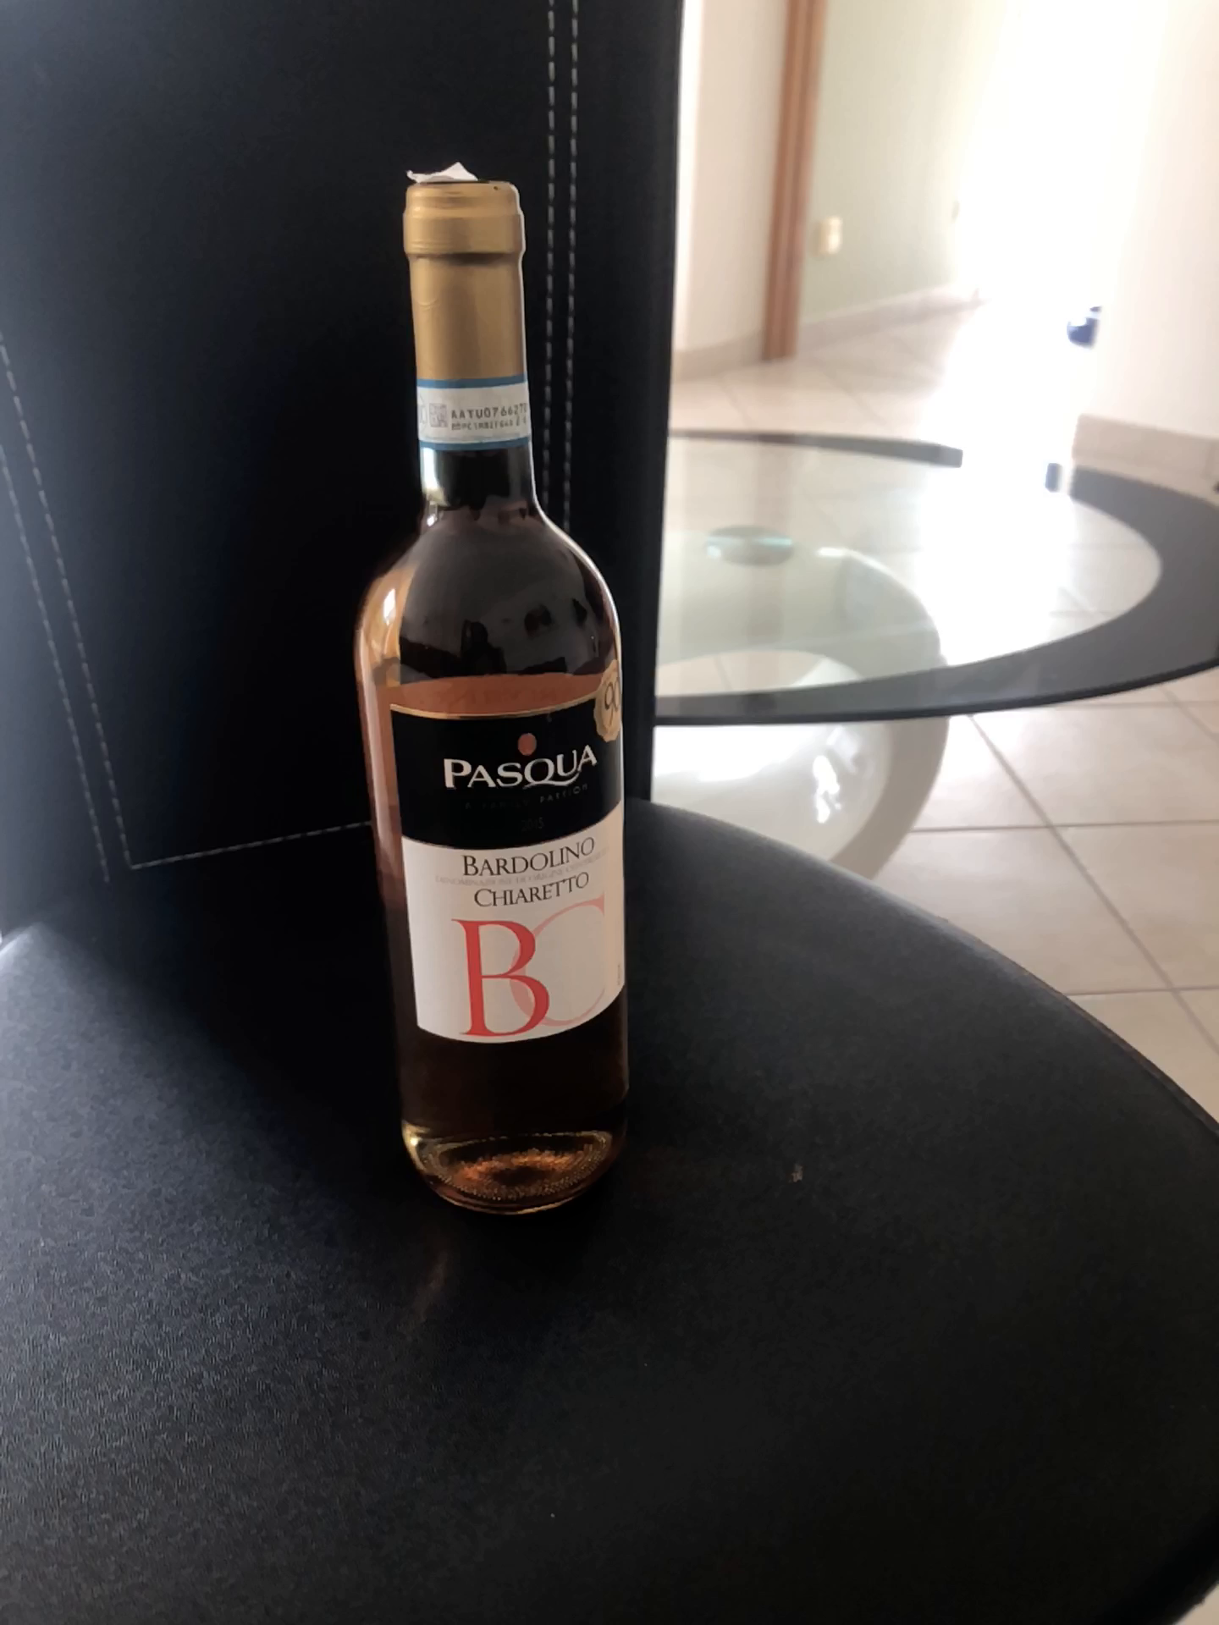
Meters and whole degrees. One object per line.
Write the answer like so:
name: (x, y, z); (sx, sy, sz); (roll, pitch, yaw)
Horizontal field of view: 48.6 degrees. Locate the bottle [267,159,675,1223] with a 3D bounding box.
bottle: (-0.034, -0.020, 0.369); (0.080, 0.278, 0.080); (1, 30, -1)
